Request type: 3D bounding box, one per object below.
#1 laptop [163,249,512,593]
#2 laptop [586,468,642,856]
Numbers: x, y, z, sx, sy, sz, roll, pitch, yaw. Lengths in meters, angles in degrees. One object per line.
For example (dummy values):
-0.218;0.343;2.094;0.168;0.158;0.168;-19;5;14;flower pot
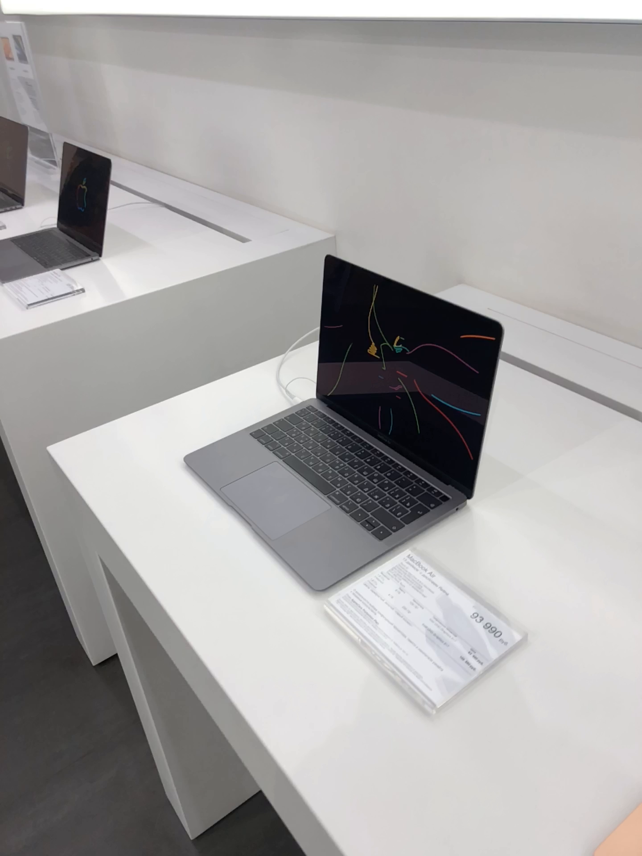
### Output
0.013;-0.034;0.780;0.250;0.194;0.286;-26;38;-27;laptop
0.359;0.204;0.348;0.260;0.184;0.294;-23;36;-26;laptop
